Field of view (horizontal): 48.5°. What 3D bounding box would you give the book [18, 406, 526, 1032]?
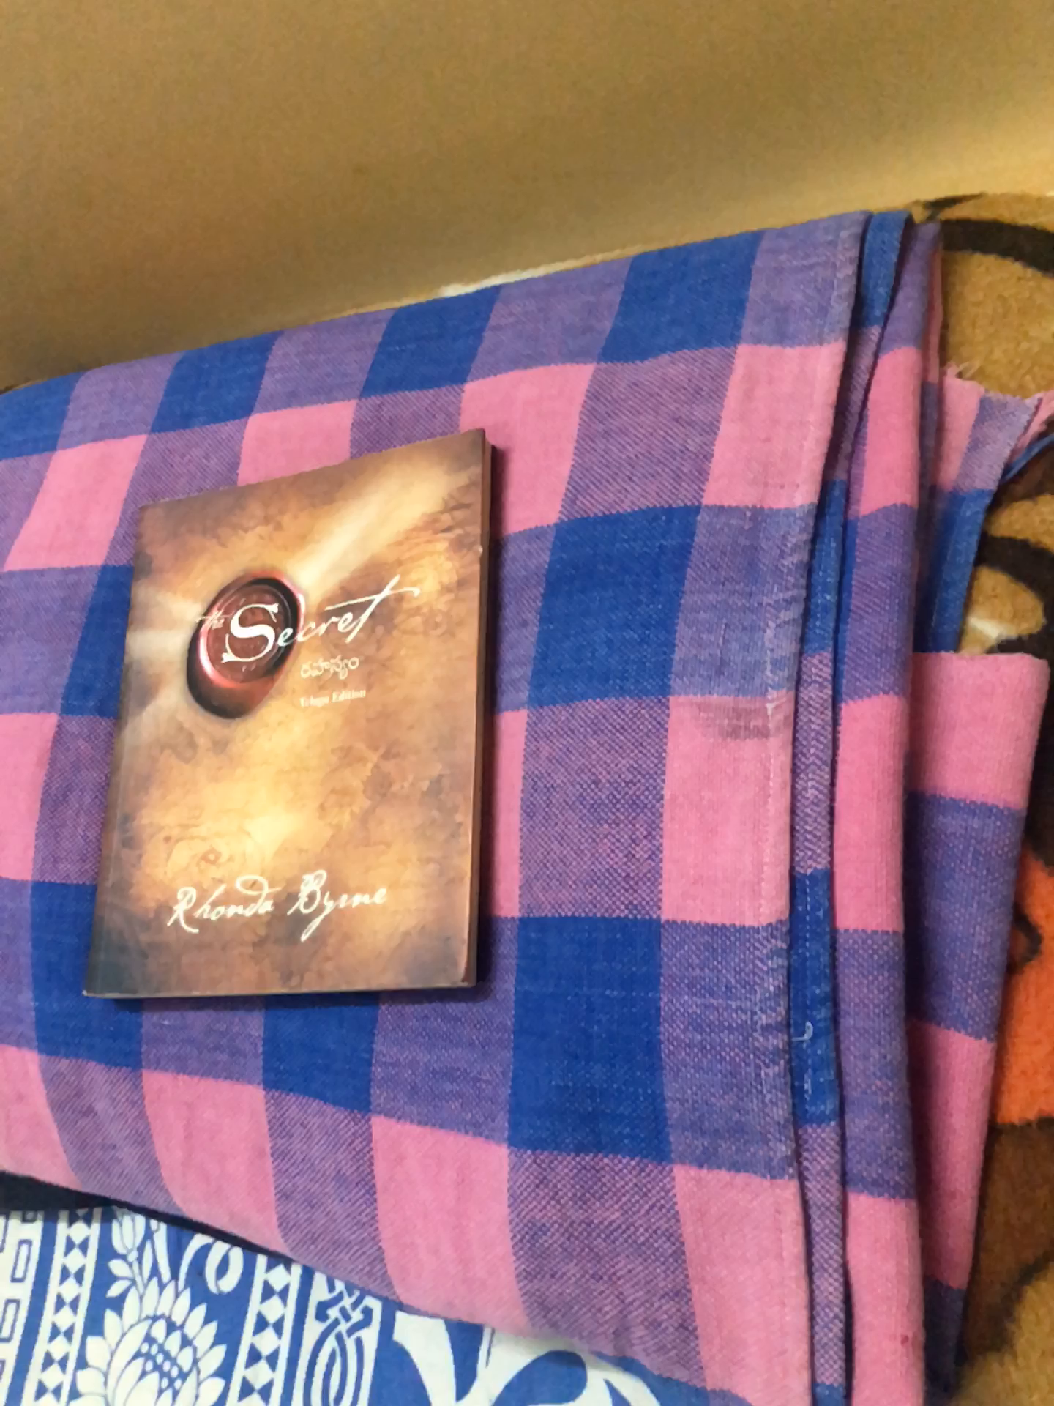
[{"bbox_3d":[-0.078,0.005,0.374,0.150,0.020,0.190,-9,62,25],"label":"book"}]
